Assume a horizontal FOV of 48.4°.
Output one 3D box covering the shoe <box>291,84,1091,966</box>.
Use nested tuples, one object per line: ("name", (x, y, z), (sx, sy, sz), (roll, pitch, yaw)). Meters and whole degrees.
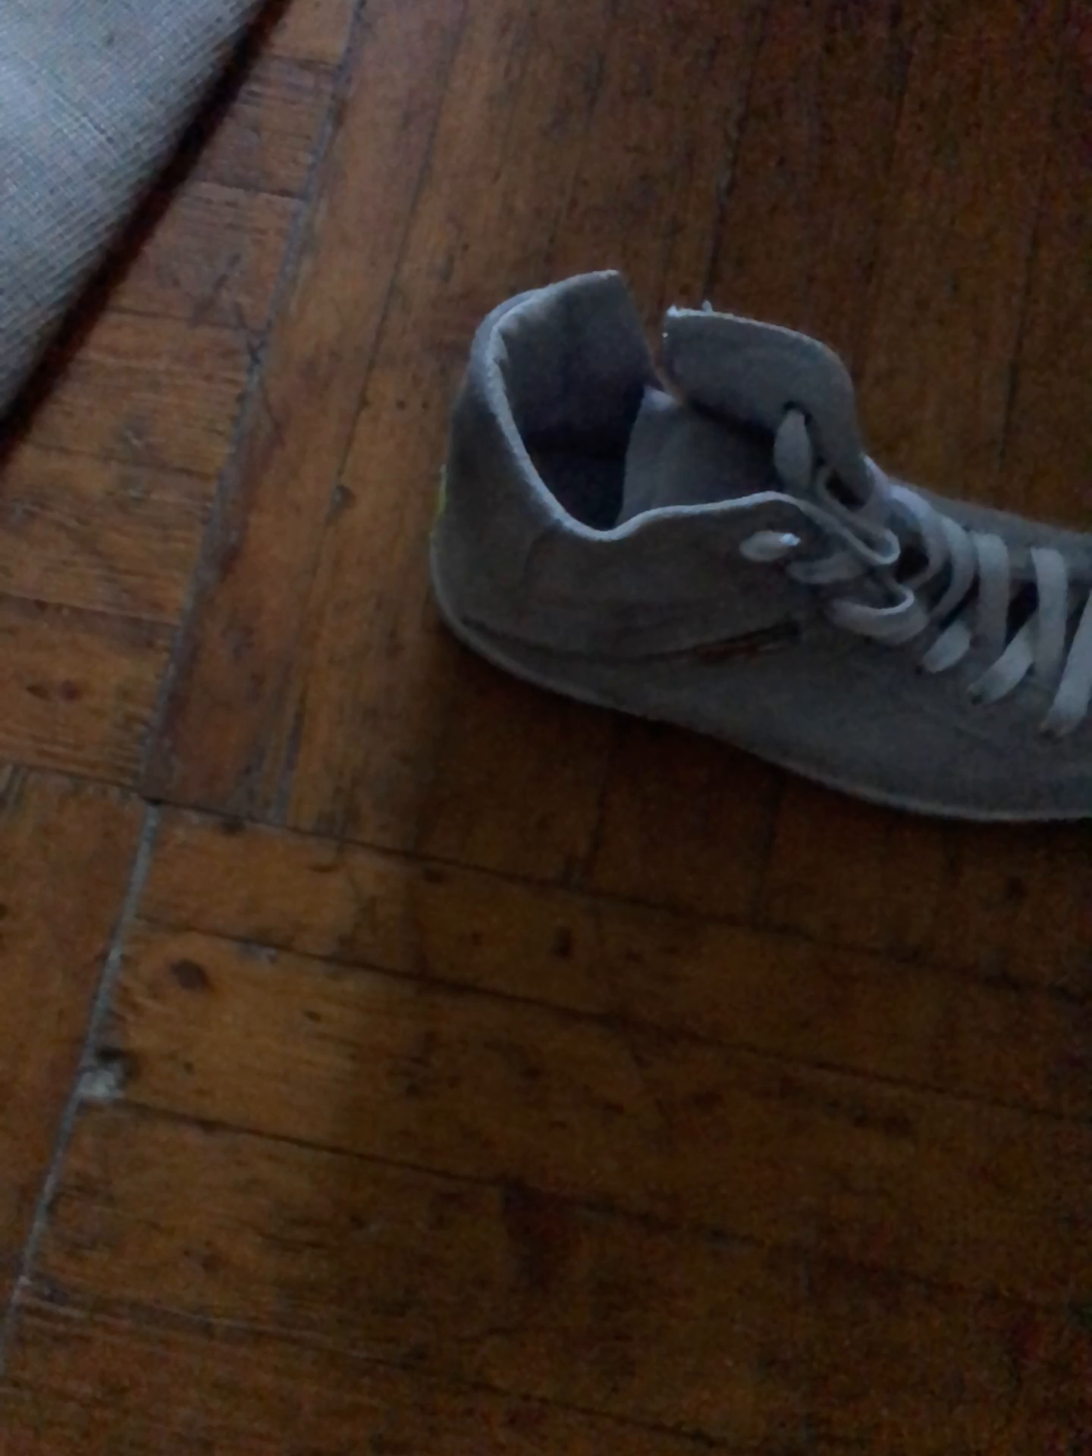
("shoe", (0.112, -0.041, 0.389), (0.310, 0.220, 0.130), (16, 84, 4))
